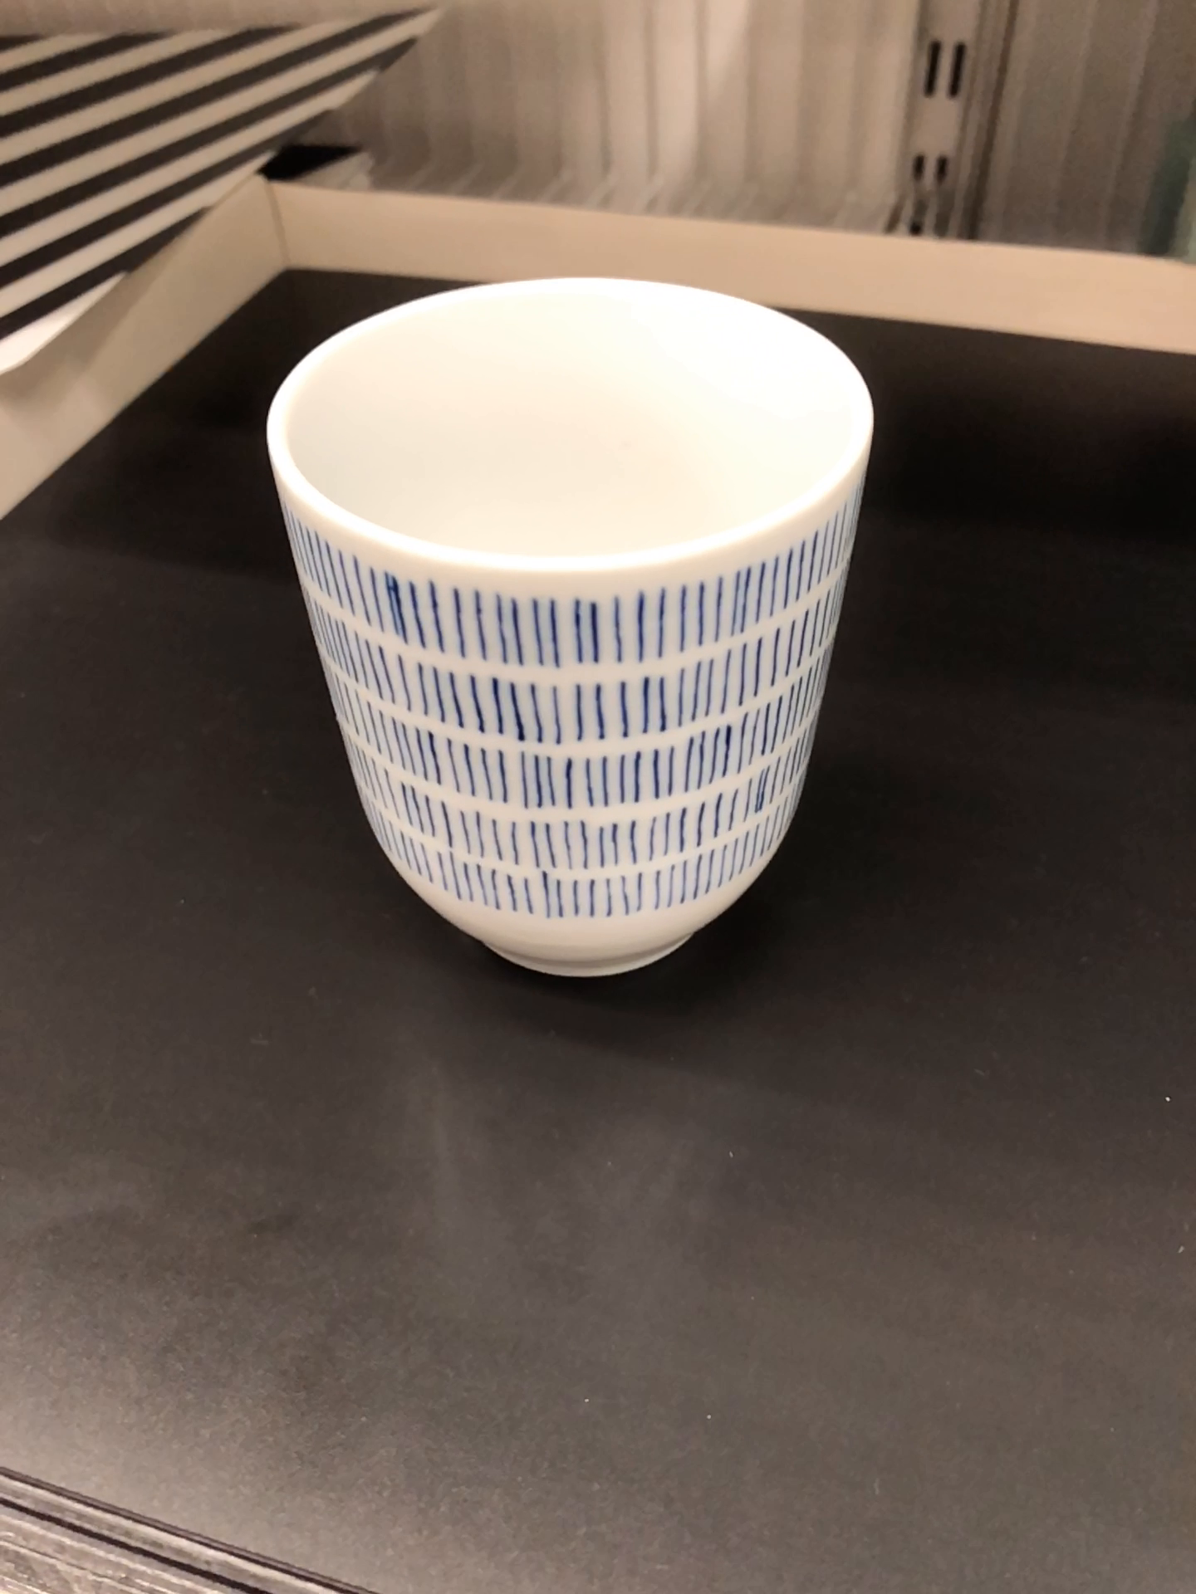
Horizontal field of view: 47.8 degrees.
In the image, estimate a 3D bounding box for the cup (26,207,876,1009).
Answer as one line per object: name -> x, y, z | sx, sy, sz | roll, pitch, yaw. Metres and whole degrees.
cup -> -0.011, -0.029, 0.181 | 0.080, 0.070, 0.070 | 10, 43, 13
